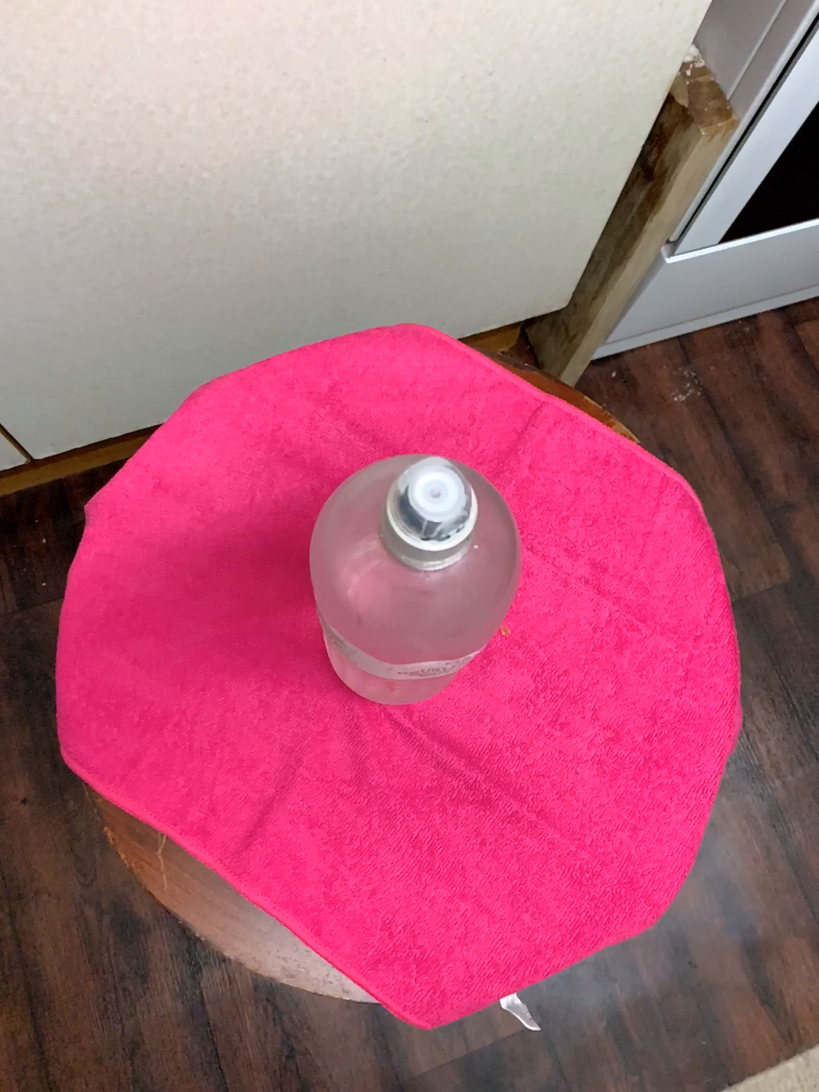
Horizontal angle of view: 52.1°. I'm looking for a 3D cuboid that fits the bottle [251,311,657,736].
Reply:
[{"bbox_3d":[0.004,0.017,0.370,0.090,0.259,0.080,-33,79,-12],"label":"bottle"}]
